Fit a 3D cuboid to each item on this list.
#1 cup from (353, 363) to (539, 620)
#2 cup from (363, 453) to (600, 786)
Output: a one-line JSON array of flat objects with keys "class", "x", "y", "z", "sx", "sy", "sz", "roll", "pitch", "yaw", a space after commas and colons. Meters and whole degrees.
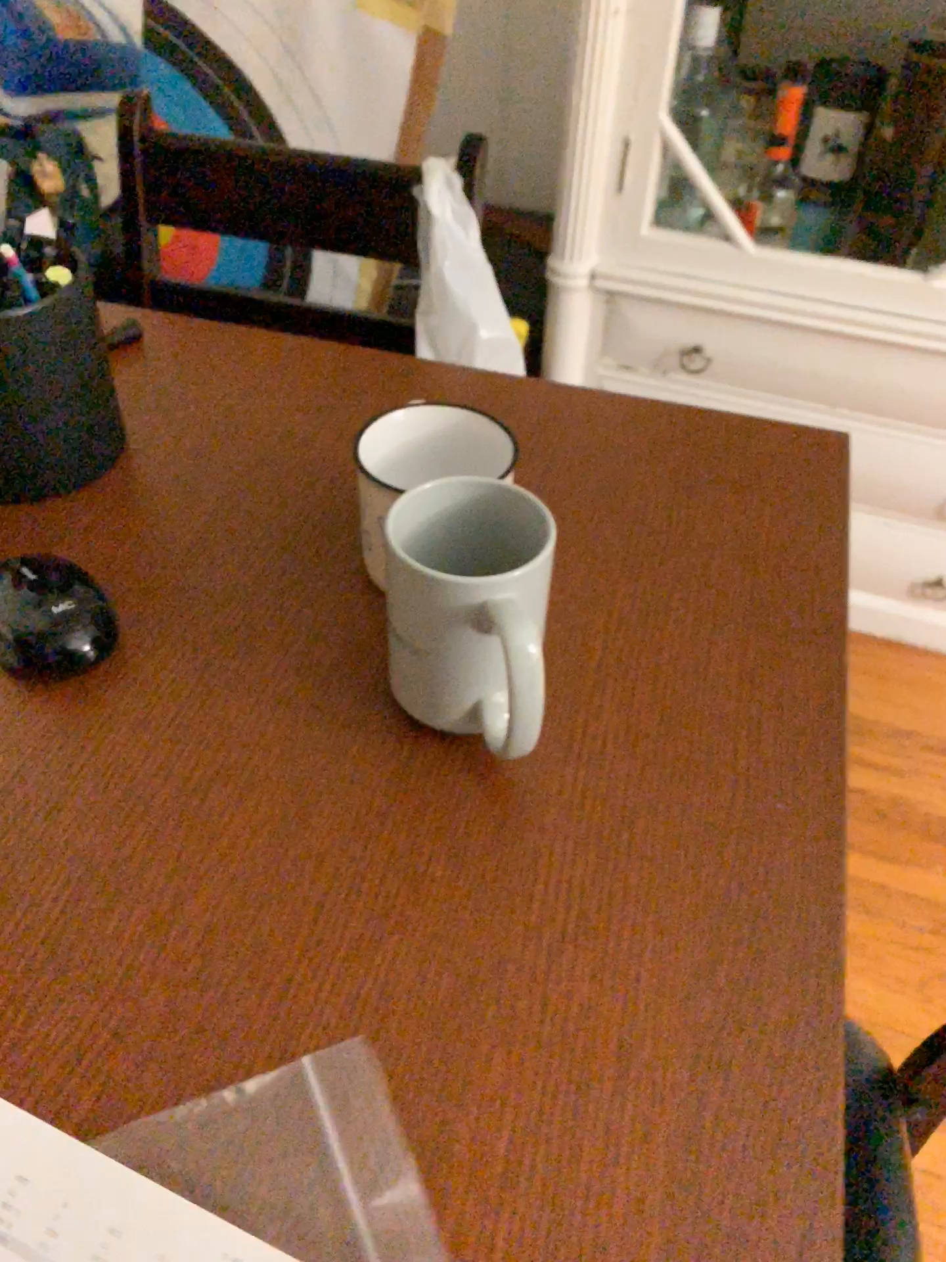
[{"class": "cup", "x": -0.018, "y": -0.088, "z": 0.607, "sx": 0.100, "sy": 0.099, "sz": 0.131, "roll": 0, "pitch": 43, "yaw": -2}, {"class": "cup", "x": 0.000, "y": -0.009, "z": 0.498, "sx": 0.100, "sy": 0.099, "sz": 0.141, "roll": 0, "pitch": 43, "yaw": -3}]
